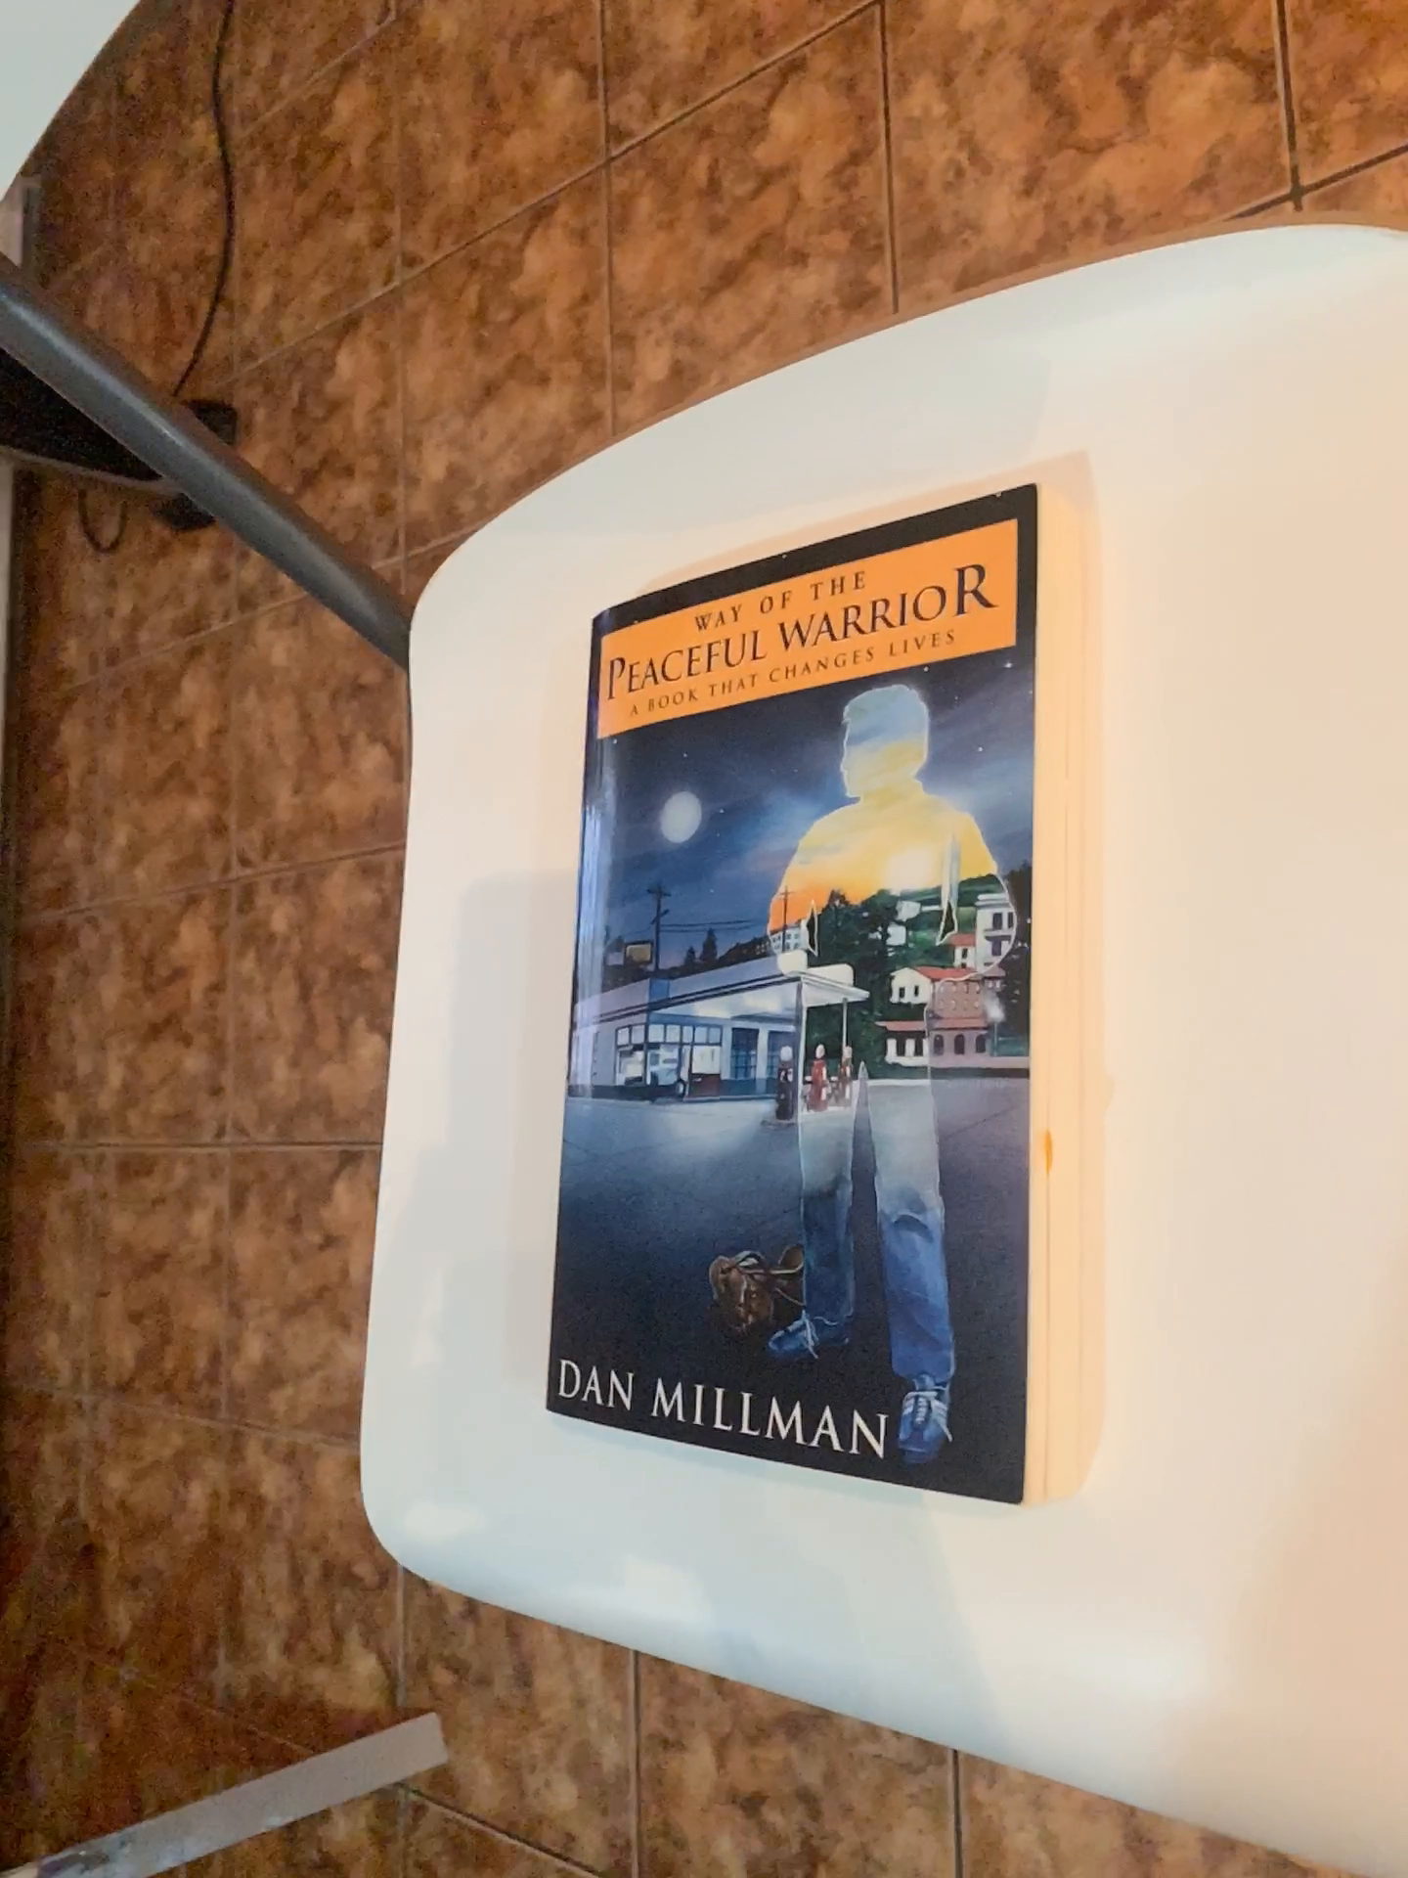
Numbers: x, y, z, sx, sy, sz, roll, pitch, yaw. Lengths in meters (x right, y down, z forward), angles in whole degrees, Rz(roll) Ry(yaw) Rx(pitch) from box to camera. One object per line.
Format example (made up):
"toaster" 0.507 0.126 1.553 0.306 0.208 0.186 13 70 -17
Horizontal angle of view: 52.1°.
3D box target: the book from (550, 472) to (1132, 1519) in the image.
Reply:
"book" 0.026 0.014 0.350 0.141 0.039 0.210 -5 83 41
